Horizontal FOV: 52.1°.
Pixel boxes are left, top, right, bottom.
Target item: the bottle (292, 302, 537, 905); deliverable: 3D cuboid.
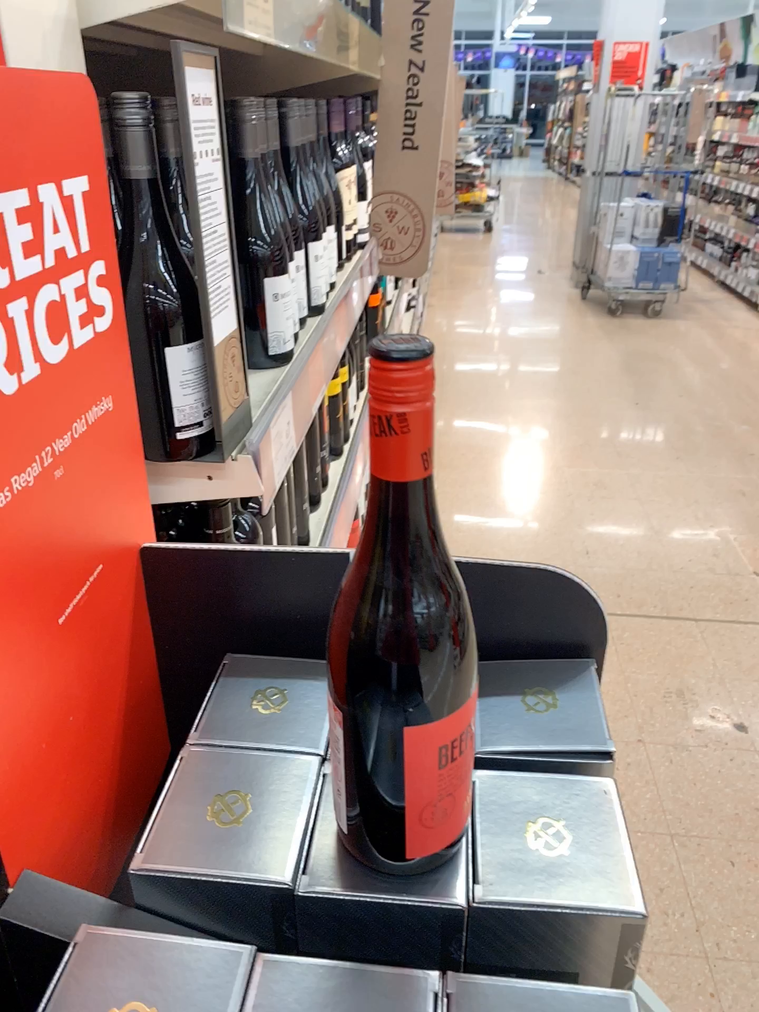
[{"bbox_3d":[0.016,0.055,0.384,0.080,0.284,0.083,1,27,0],"label":"bottle"}]
